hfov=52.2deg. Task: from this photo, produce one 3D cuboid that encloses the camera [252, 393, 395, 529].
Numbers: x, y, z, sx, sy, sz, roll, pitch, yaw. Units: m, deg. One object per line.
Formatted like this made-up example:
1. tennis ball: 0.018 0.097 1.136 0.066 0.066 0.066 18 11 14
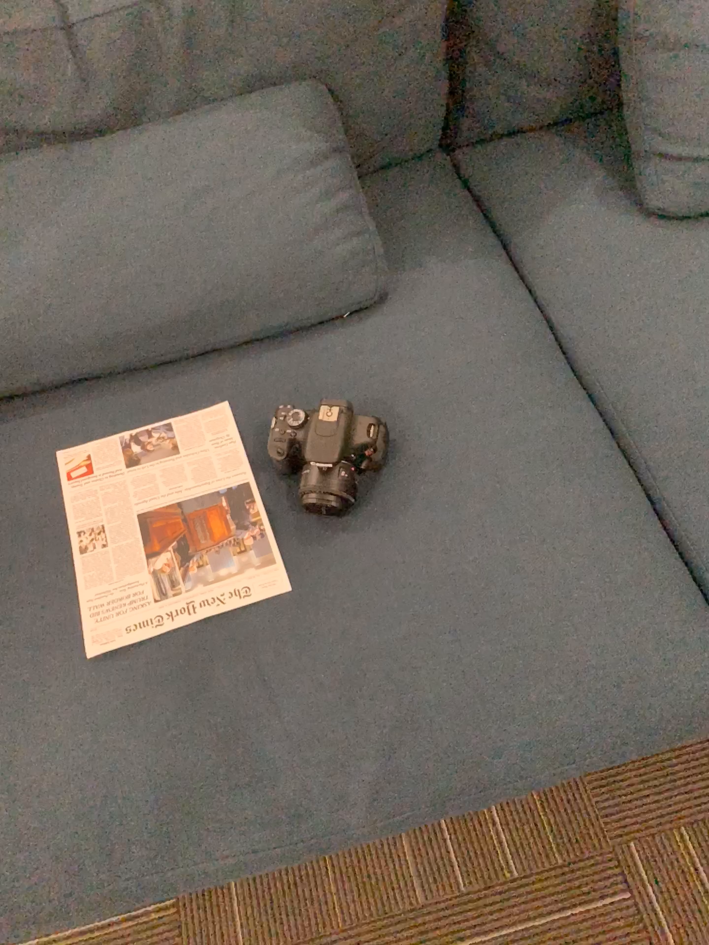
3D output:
1. camera: -0.029 -0.011 0.780 0.120 0.100 0.108 6 72 12
